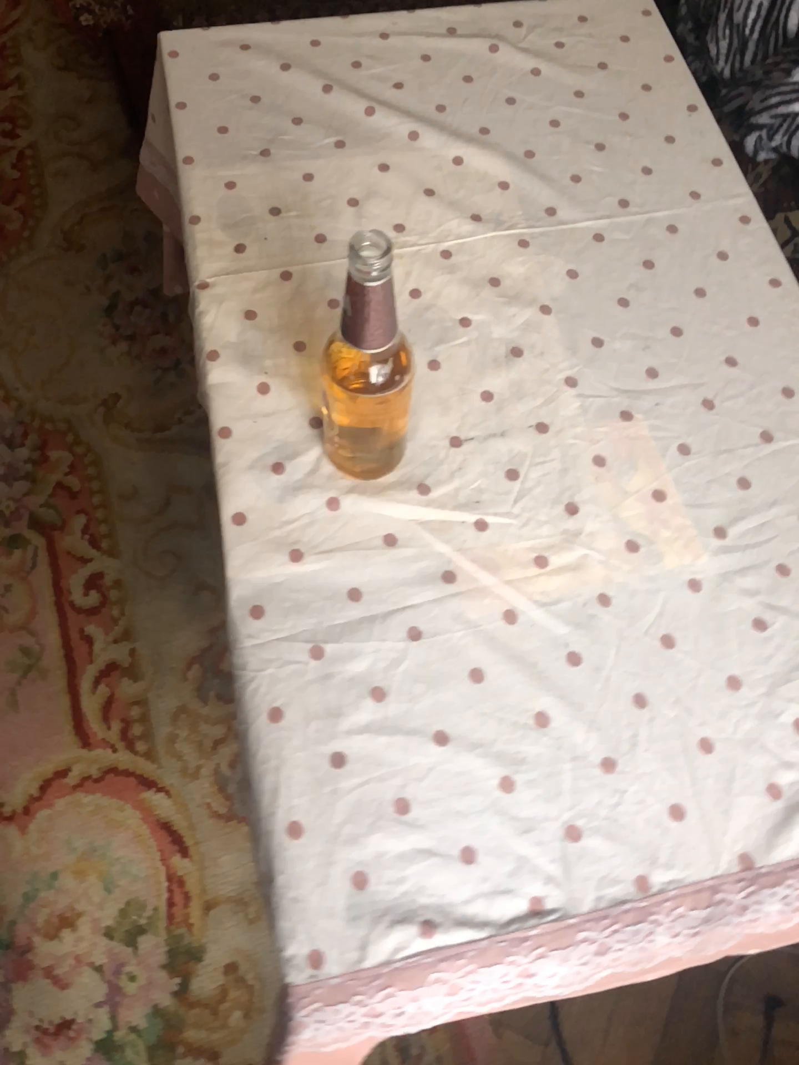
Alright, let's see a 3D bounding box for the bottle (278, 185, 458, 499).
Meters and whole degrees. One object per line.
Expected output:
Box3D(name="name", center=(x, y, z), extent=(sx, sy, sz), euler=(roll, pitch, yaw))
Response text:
Box3D(name="bottle", center=(-0.025, -0.119, 0.608), extent=(0.080, 0.209, 0.080), euler=(2, 65, -4))
